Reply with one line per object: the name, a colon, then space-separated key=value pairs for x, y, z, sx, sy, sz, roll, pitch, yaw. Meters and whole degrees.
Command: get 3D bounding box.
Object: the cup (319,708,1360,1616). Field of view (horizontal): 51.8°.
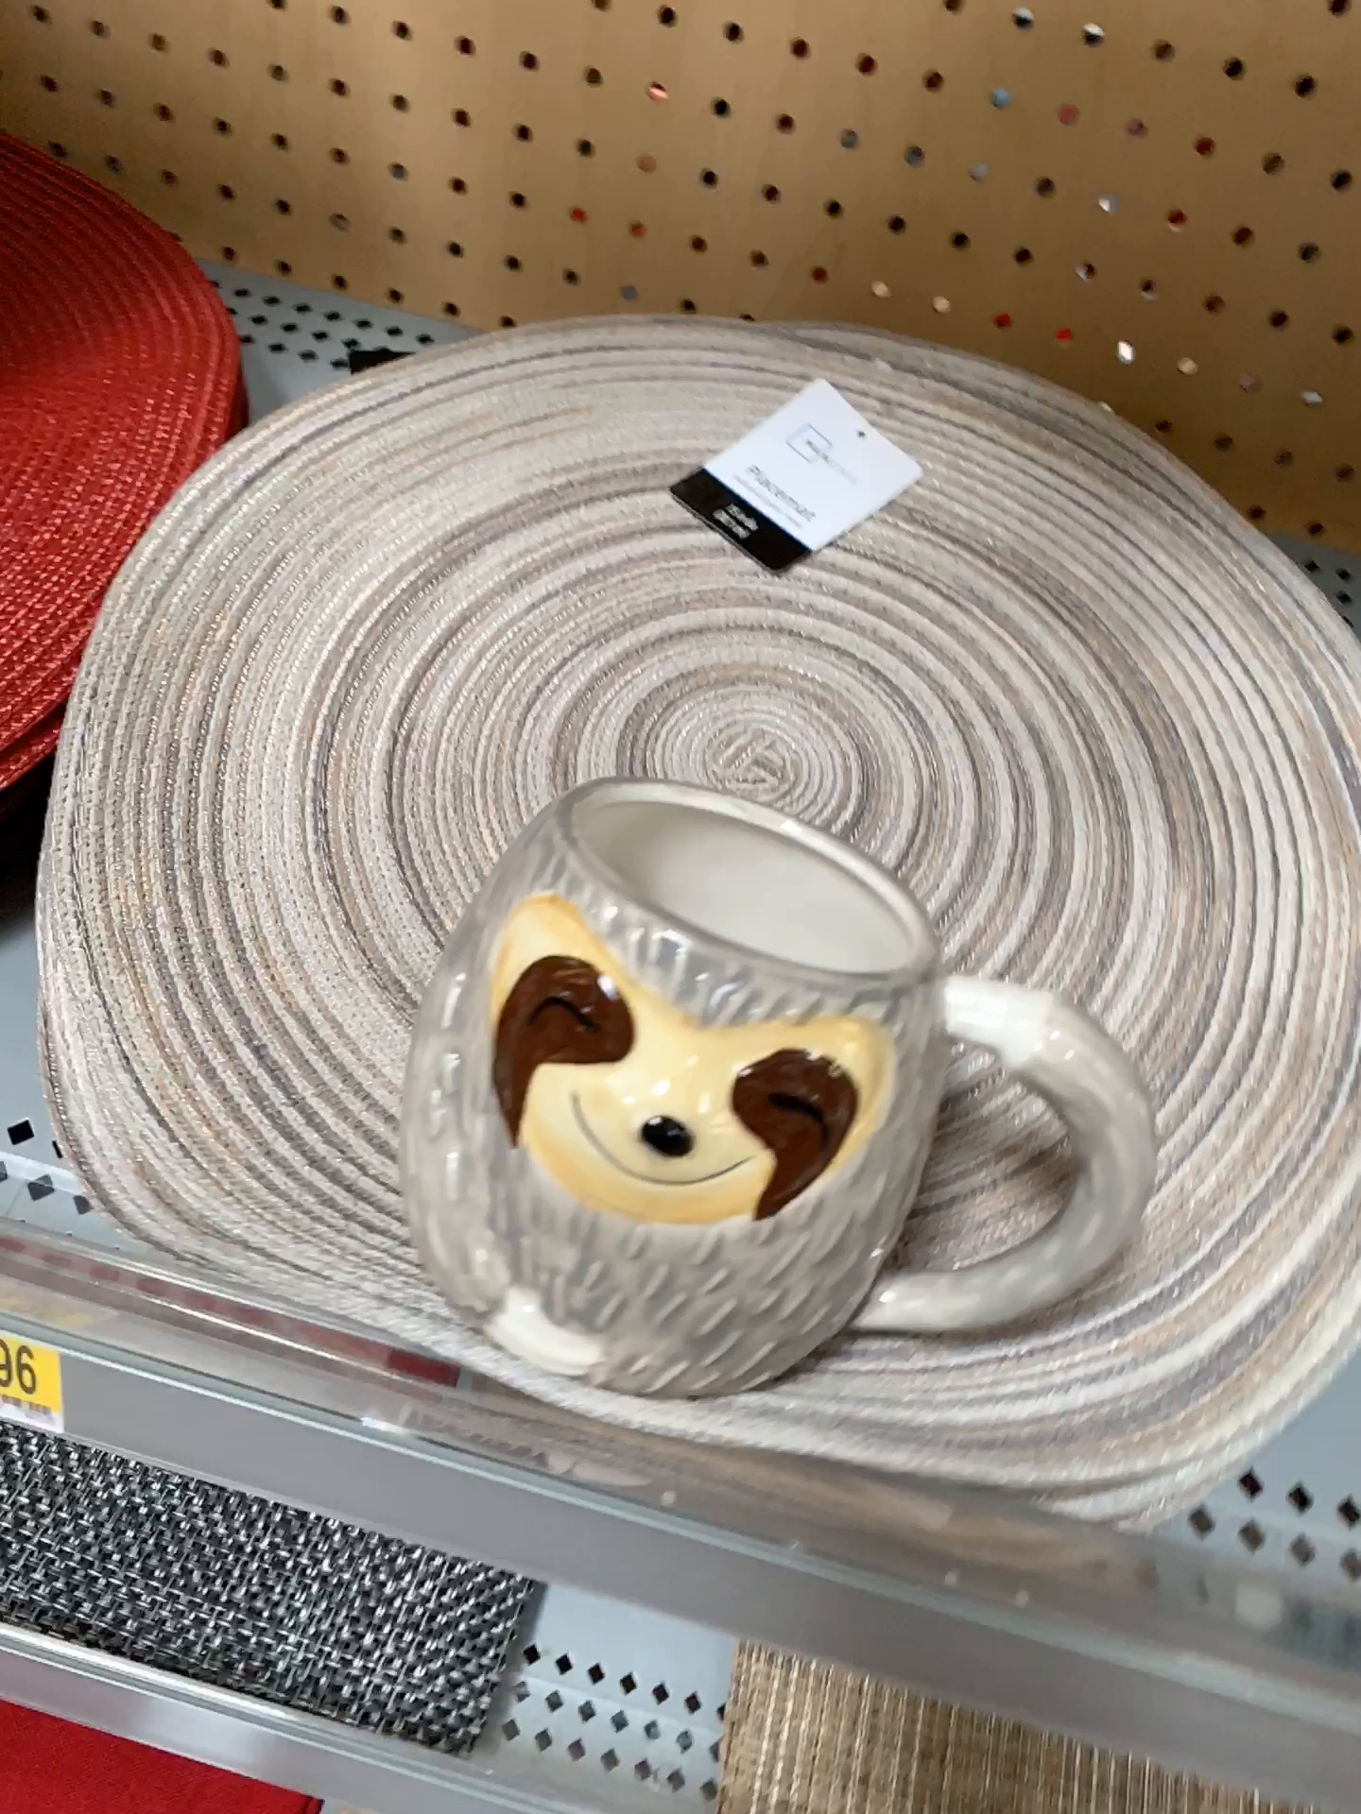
cup: x=0.027 y=0.041 z=0.273 sx=0.150 sy=0.089 sz=0.107 roll=17 pitch=27 yaw=-1
